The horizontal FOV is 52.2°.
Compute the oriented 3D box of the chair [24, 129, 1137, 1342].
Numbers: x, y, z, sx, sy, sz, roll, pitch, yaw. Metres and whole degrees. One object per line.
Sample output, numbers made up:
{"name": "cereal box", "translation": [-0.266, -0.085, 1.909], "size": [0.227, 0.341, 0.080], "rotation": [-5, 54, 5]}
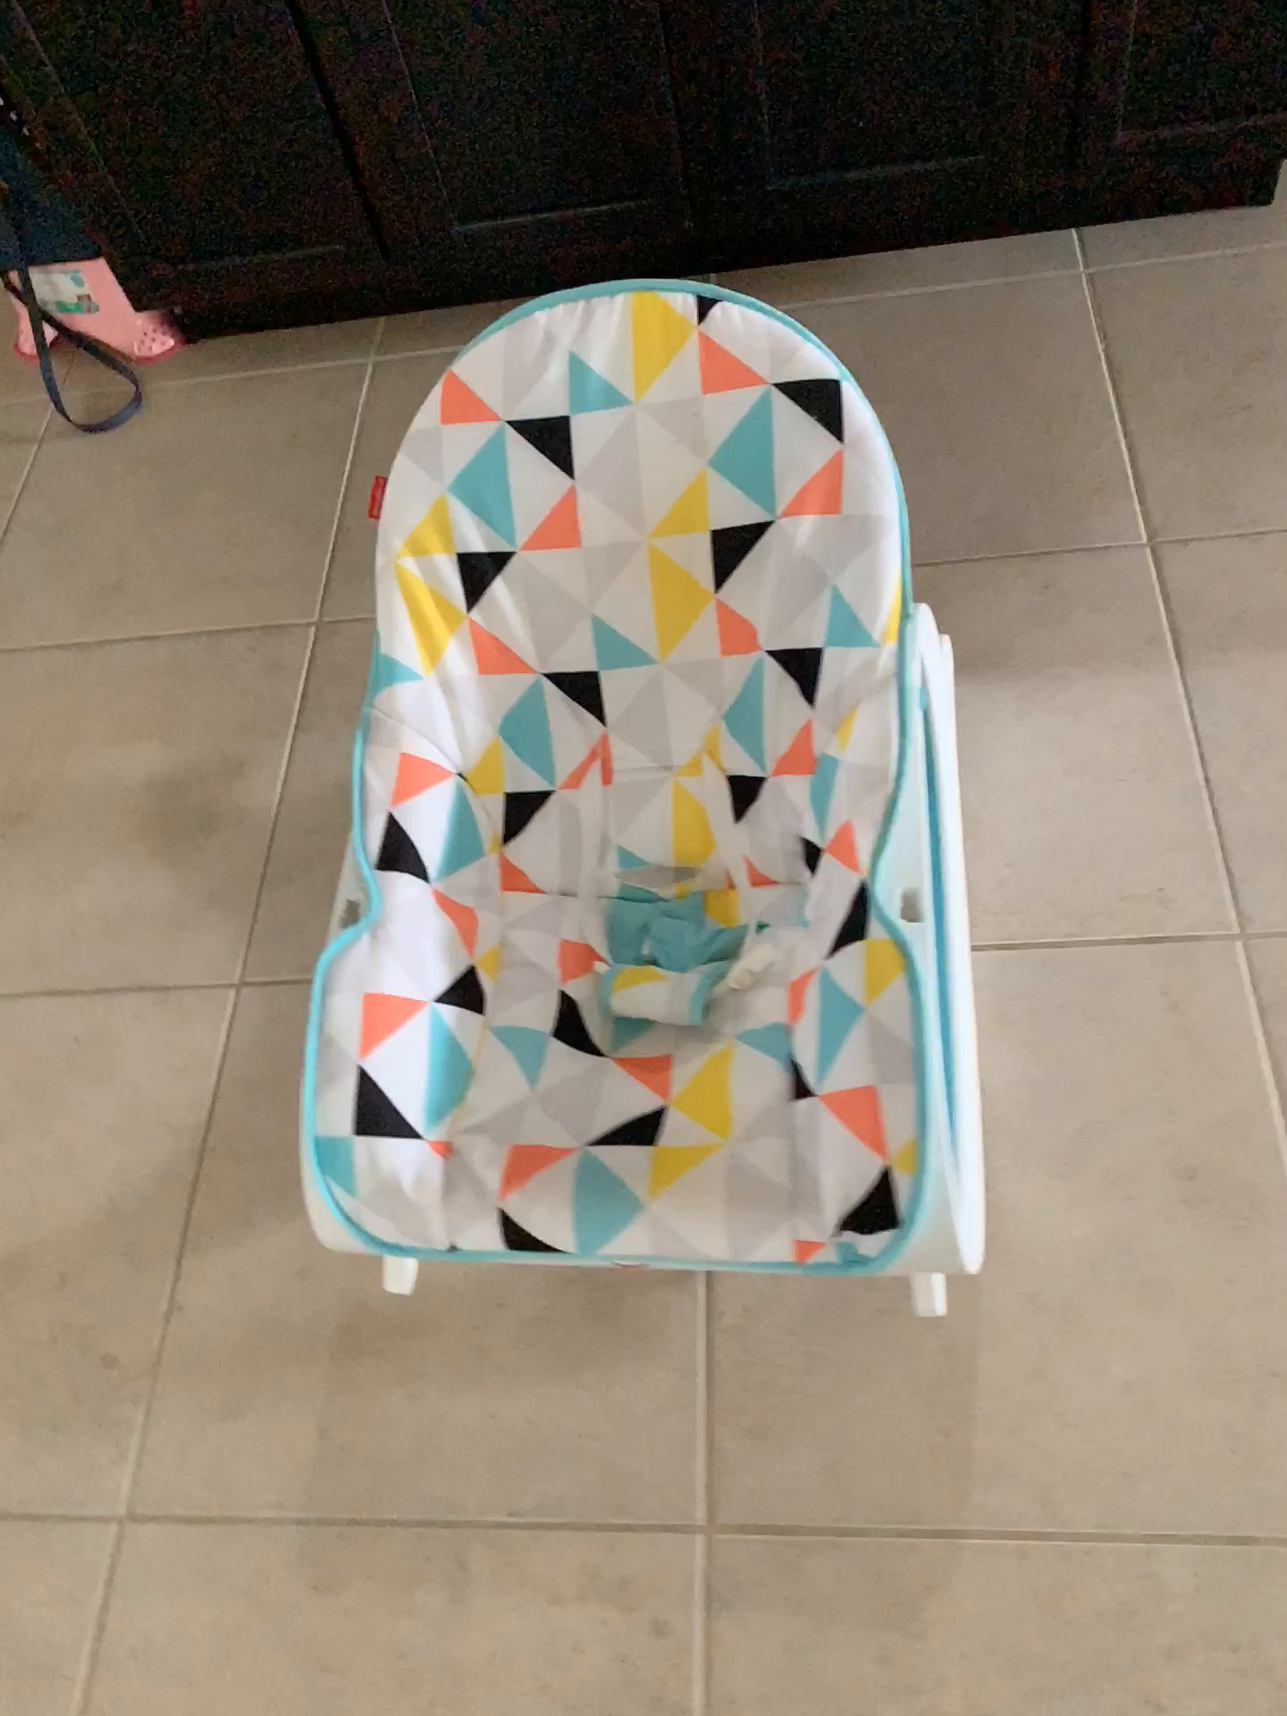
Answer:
{"name": "chair", "translation": [0.012, -0.065, 1.001], "size": [0.530, 0.487, 0.735], "rotation": [-3, 59, 10]}
